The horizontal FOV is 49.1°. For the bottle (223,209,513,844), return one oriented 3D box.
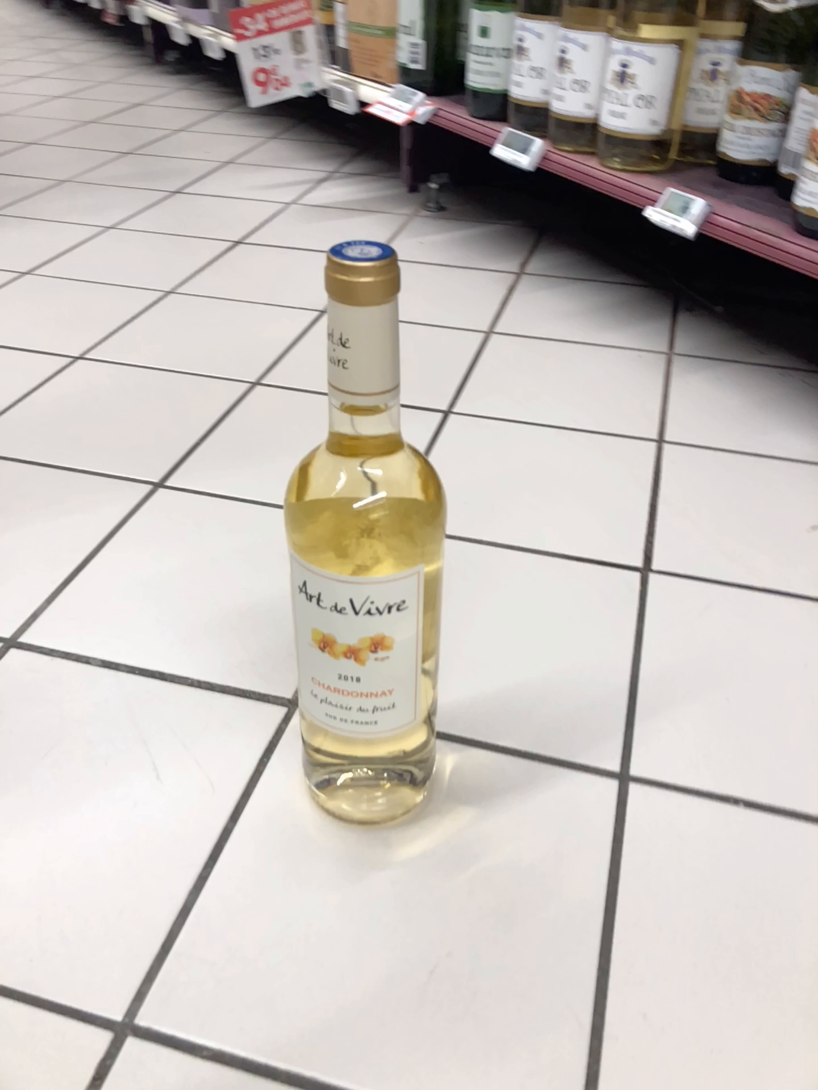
[{"bbox_3d":[-0.013,0.006,0.422,0.090,0.288,0.091,1,36,0],"label":"bottle"}]
